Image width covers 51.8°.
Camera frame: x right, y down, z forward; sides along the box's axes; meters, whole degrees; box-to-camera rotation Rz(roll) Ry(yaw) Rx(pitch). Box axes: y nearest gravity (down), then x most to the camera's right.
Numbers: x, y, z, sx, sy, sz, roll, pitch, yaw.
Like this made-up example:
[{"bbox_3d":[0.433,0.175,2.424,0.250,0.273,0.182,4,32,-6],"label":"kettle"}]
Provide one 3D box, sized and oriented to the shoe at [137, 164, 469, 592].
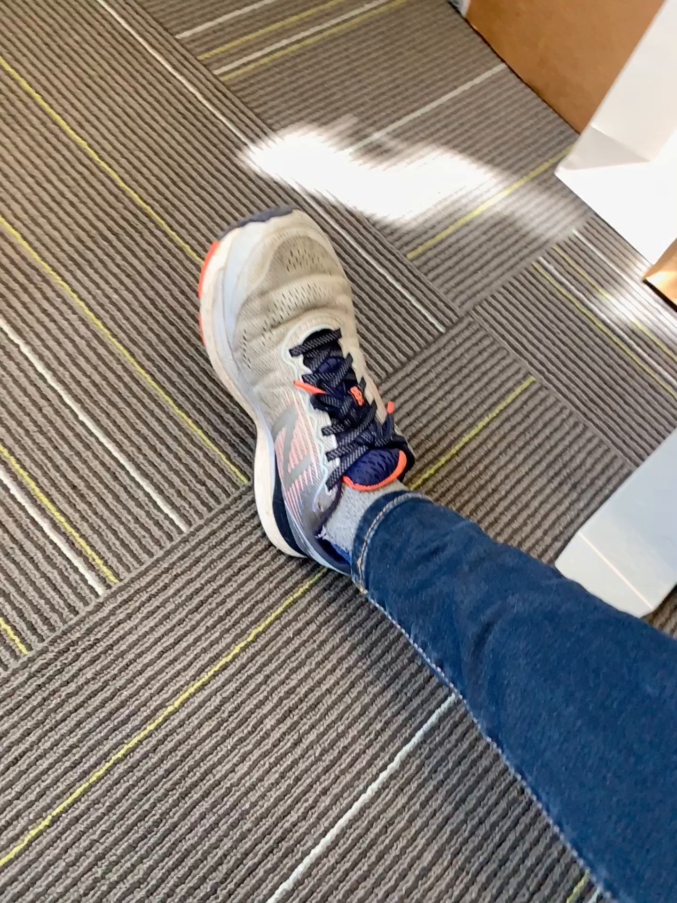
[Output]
[{"bbox_3d":[-0.020,-0.049,0.468,0.120,0.110,0.230,-28,113,-22],"label":"shoe"}]
